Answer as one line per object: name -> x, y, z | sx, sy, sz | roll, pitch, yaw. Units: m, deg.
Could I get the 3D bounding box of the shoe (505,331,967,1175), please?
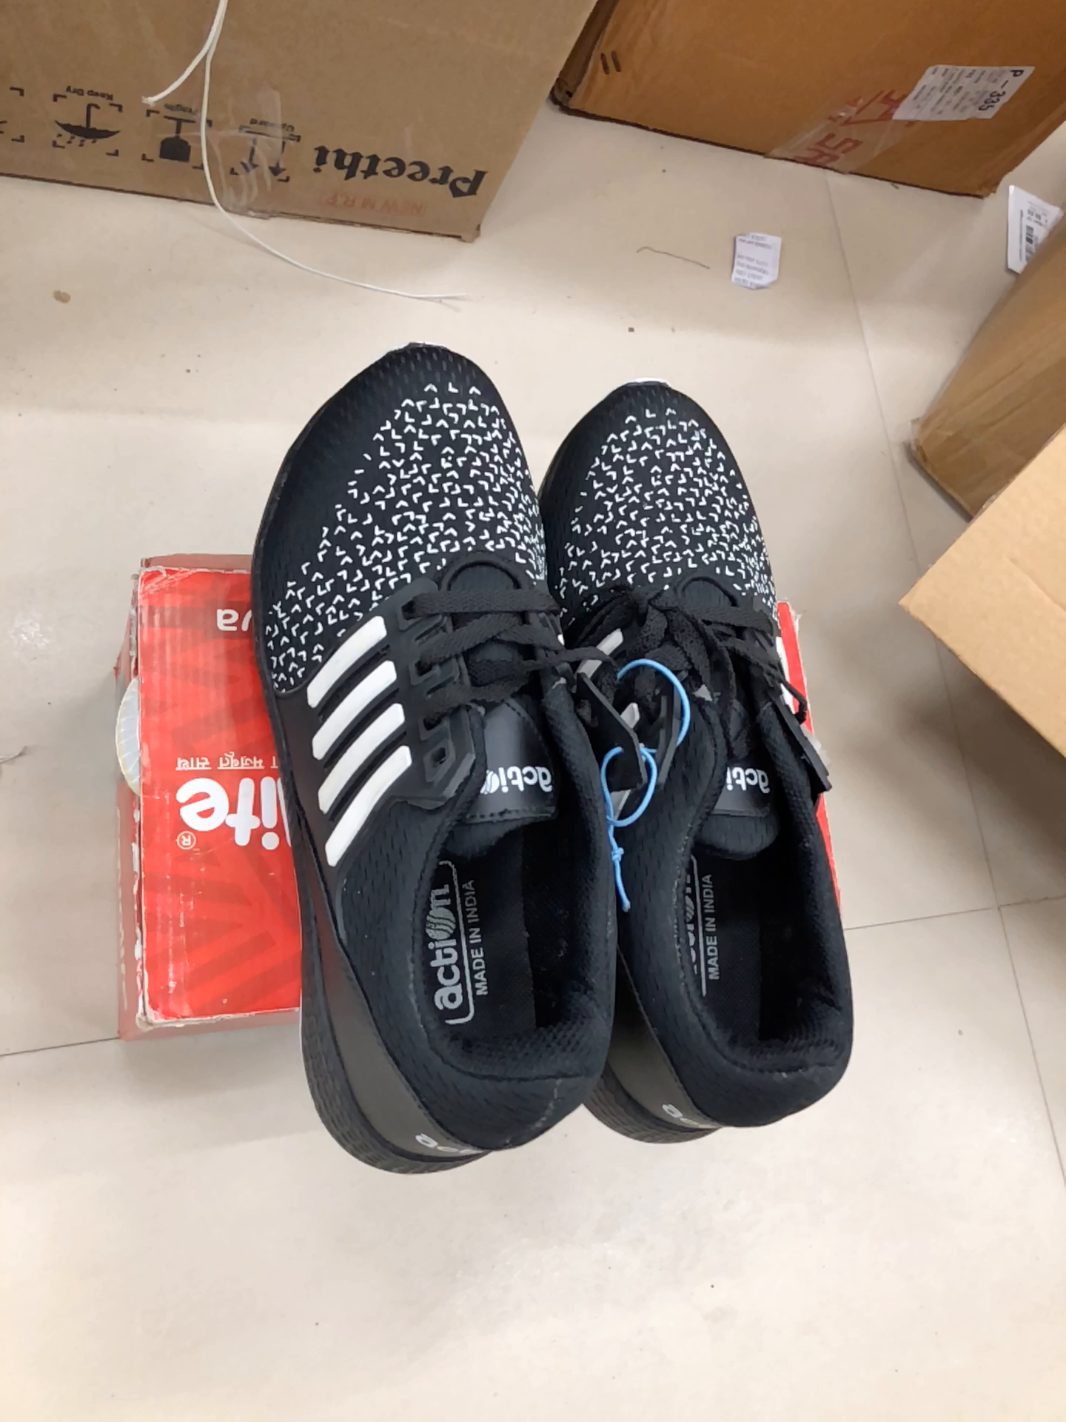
shoe -> 0.061, 0.016, 0.425 | 0.102, 0.102, 0.267 | 4, 73, -22

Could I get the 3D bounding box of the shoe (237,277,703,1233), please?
shoe -> -0.033, 0.013, 0.385 | 0.112, 0.102, 0.267 | 2, 73, -22
